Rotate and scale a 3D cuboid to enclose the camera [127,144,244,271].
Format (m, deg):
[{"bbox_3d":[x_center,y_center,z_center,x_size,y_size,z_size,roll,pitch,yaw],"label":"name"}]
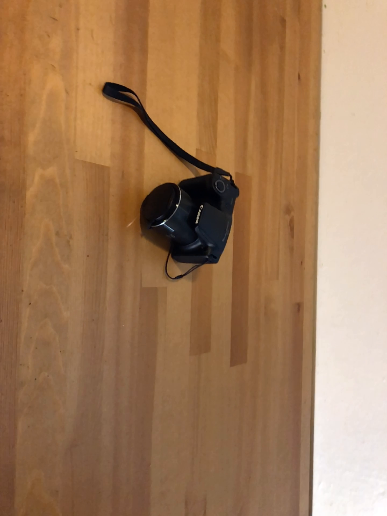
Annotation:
[{"bbox_3d":[-0.005,-0.053,0.496,0.096,0.062,0.109,31,68,-44],"label":"camera"}]
